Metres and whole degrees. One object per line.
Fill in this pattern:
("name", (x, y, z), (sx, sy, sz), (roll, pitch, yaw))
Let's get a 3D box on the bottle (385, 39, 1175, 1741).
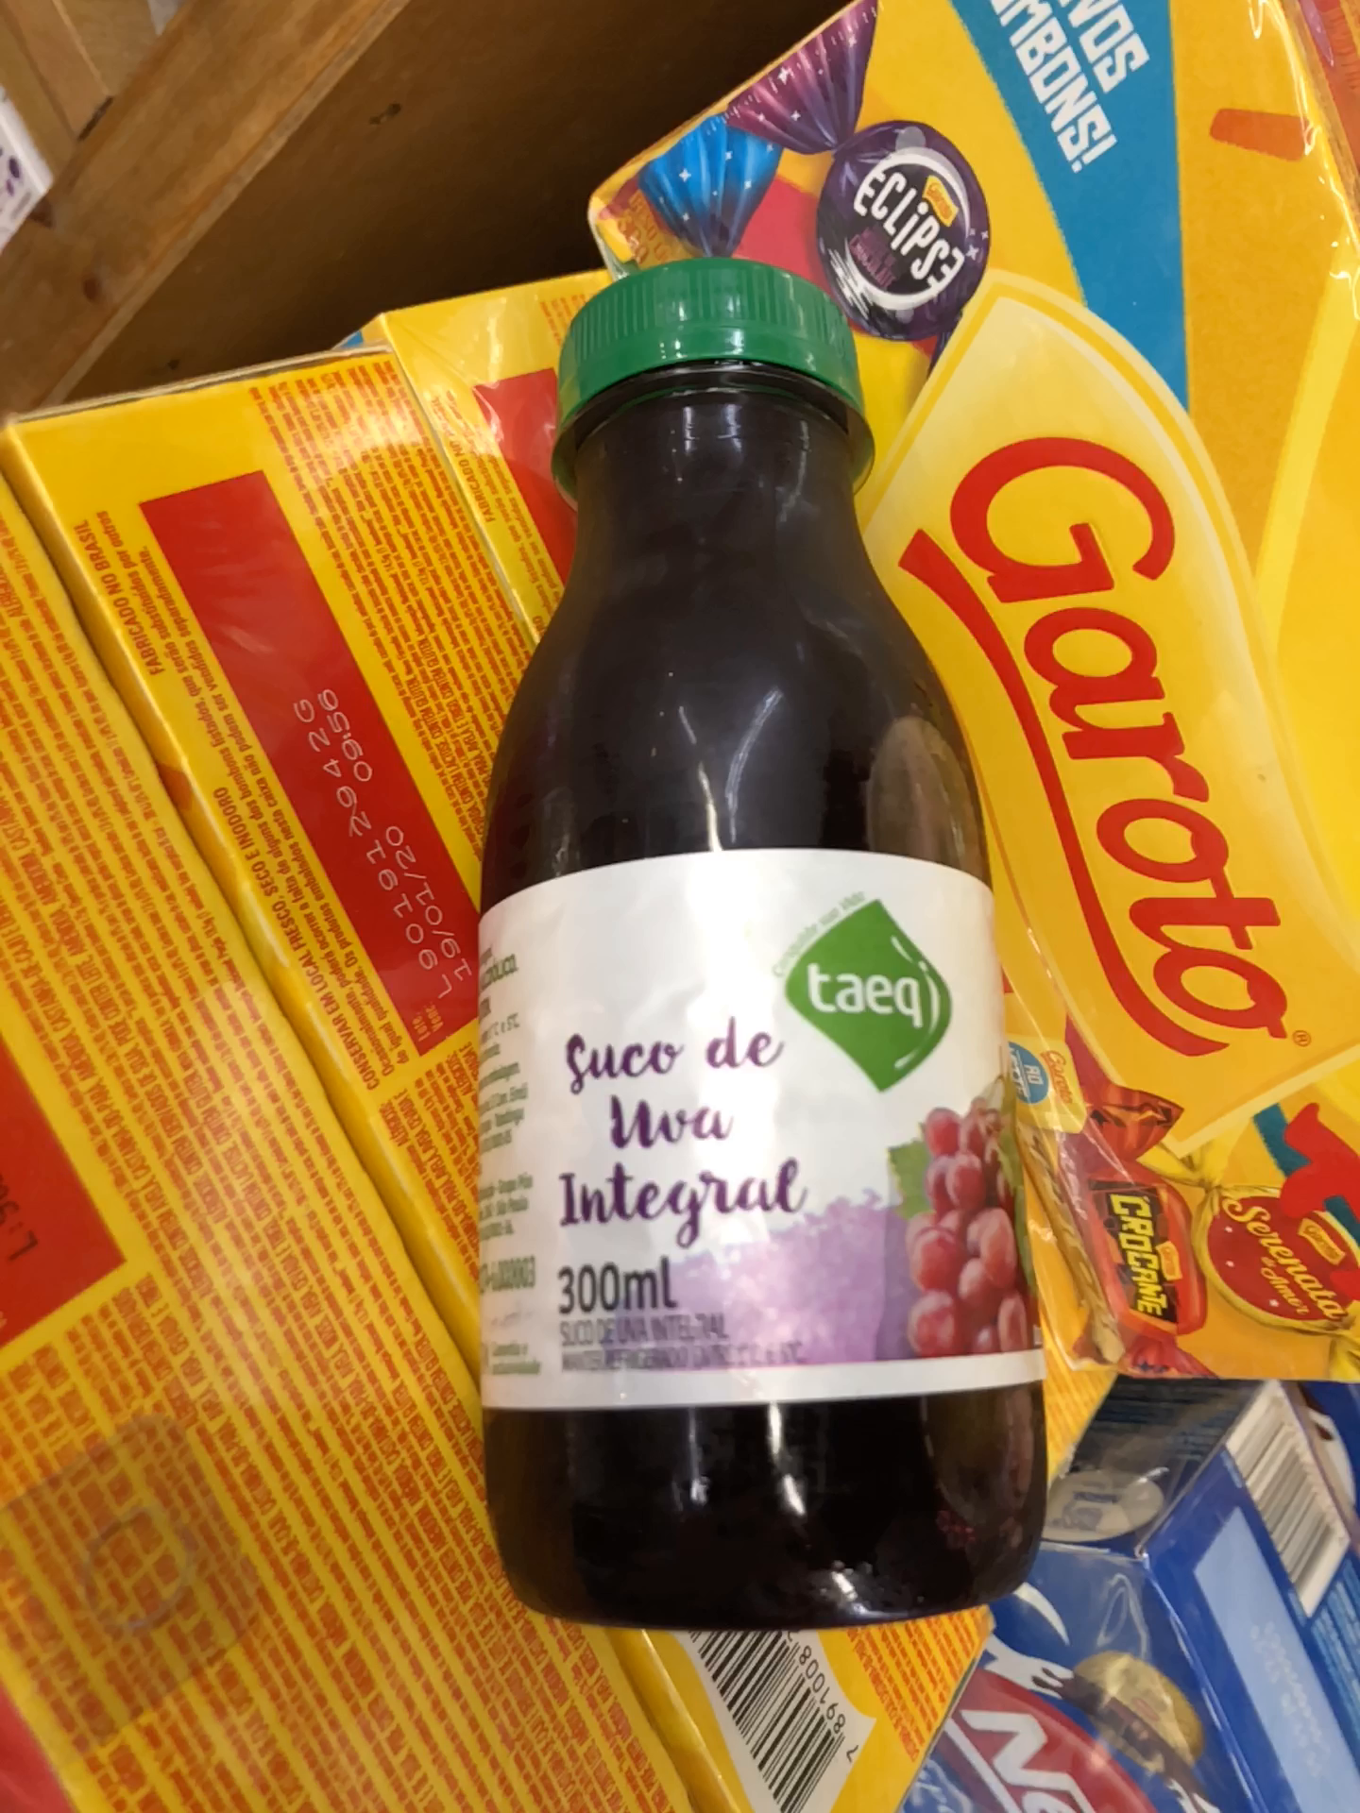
("bottle", (0.009, -0.004, 0.186), (0.070, 0.050, 0.170), (14, 67, -43))
